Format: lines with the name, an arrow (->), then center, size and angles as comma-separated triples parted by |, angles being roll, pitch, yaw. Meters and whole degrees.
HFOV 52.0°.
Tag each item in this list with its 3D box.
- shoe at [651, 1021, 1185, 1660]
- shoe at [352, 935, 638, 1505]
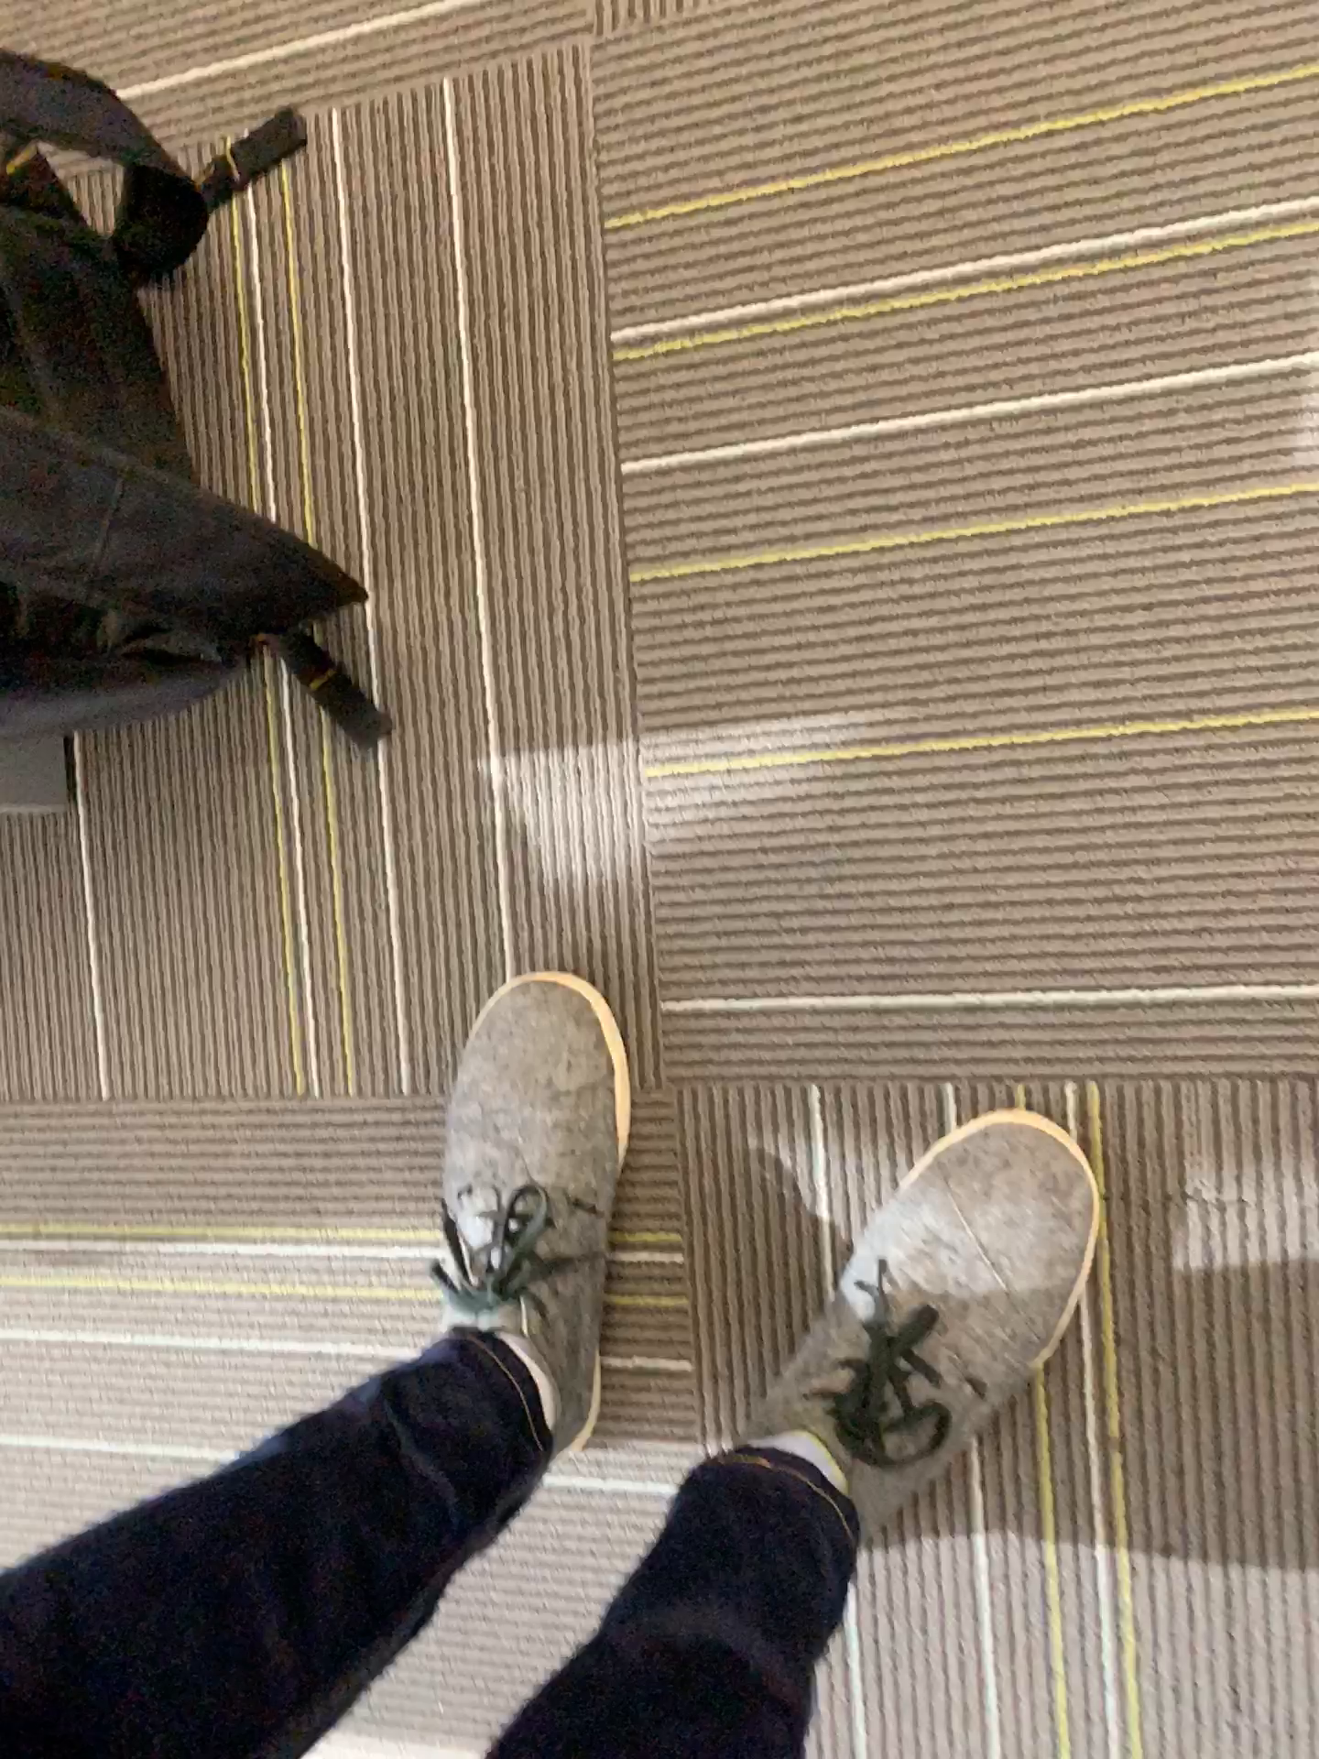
shoe -> 0.136, 0.244, 0.733 | 0.134, 0.087, 0.299 | 33, 103, 14
shoe -> -0.097, 0.191, 0.804 | 0.134, 0.087, 0.301 | 4, 94, 17
